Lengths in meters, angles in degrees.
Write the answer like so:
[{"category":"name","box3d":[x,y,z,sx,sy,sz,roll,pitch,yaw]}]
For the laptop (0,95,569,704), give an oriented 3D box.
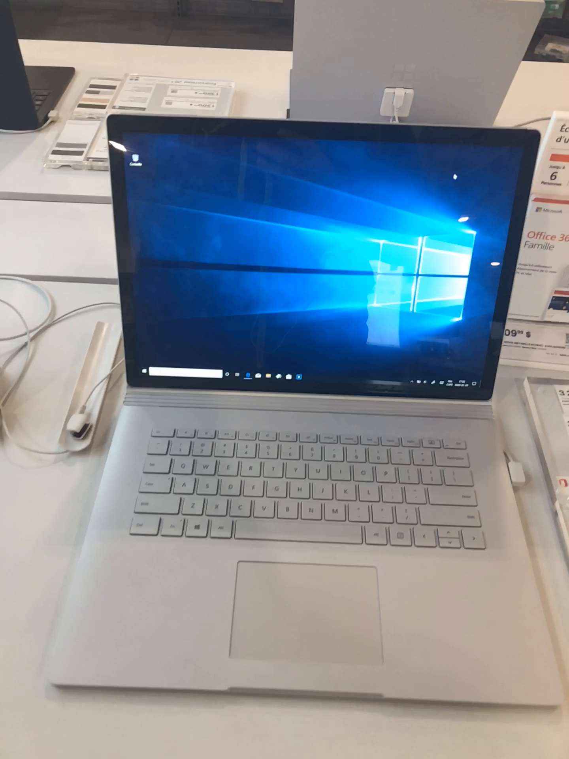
[{"category":"laptop","box3d":[0.021,-0.005,0.456,0.338,0.207,0.366,2,50,-1]}]
